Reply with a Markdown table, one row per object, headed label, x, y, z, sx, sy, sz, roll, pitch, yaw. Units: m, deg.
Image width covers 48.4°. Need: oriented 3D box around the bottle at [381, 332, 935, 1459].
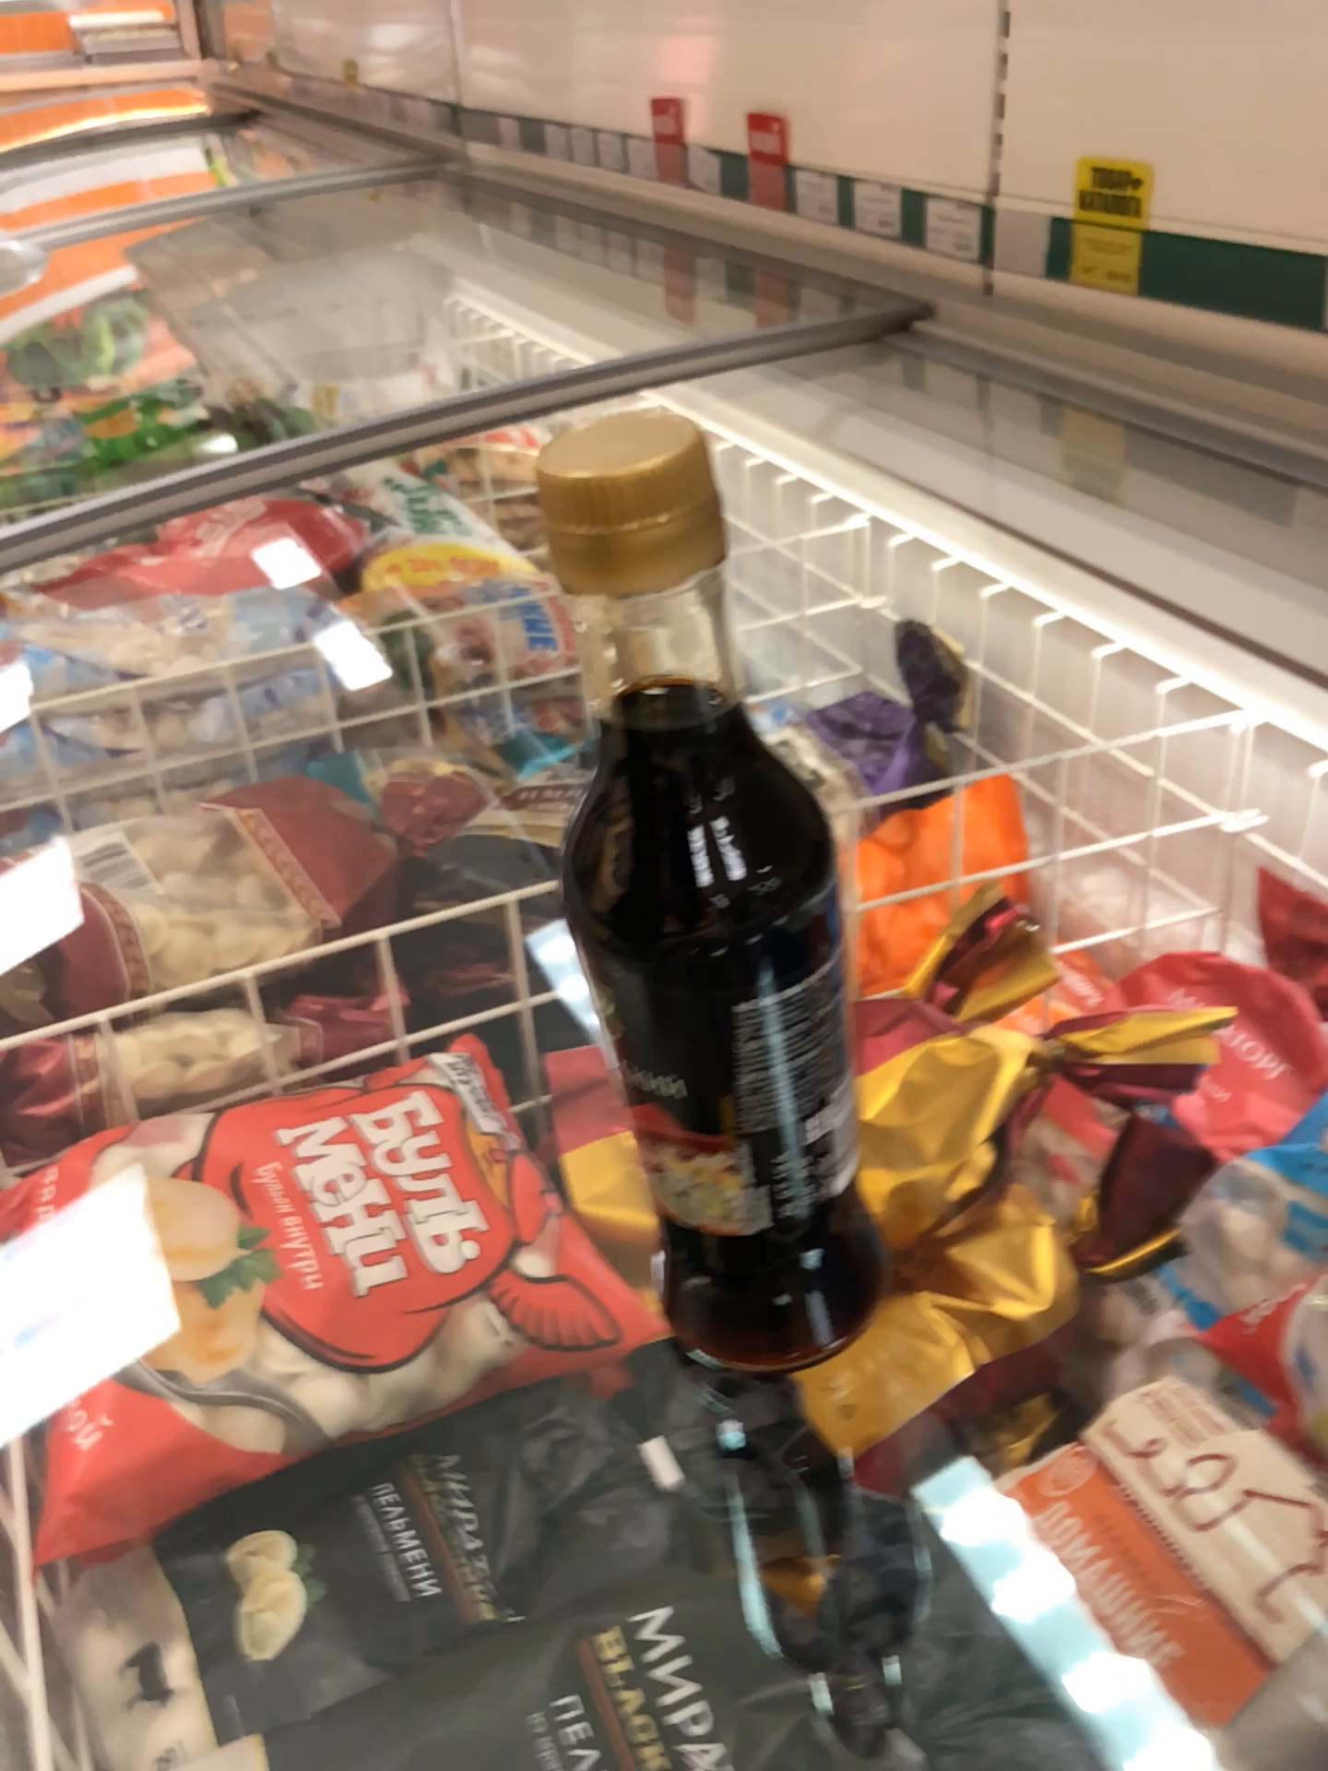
| label | x | y | z | sx | sy | sz | roll | pitch | yaw |
| --- | --- | --- | --- | --- | --- | --- | --- | --- | --- |
| bottle | 0.009 | 0.014 | 0.312 | 0.062 | 0.230 | 0.061 | -7 | 34 | 5 |
